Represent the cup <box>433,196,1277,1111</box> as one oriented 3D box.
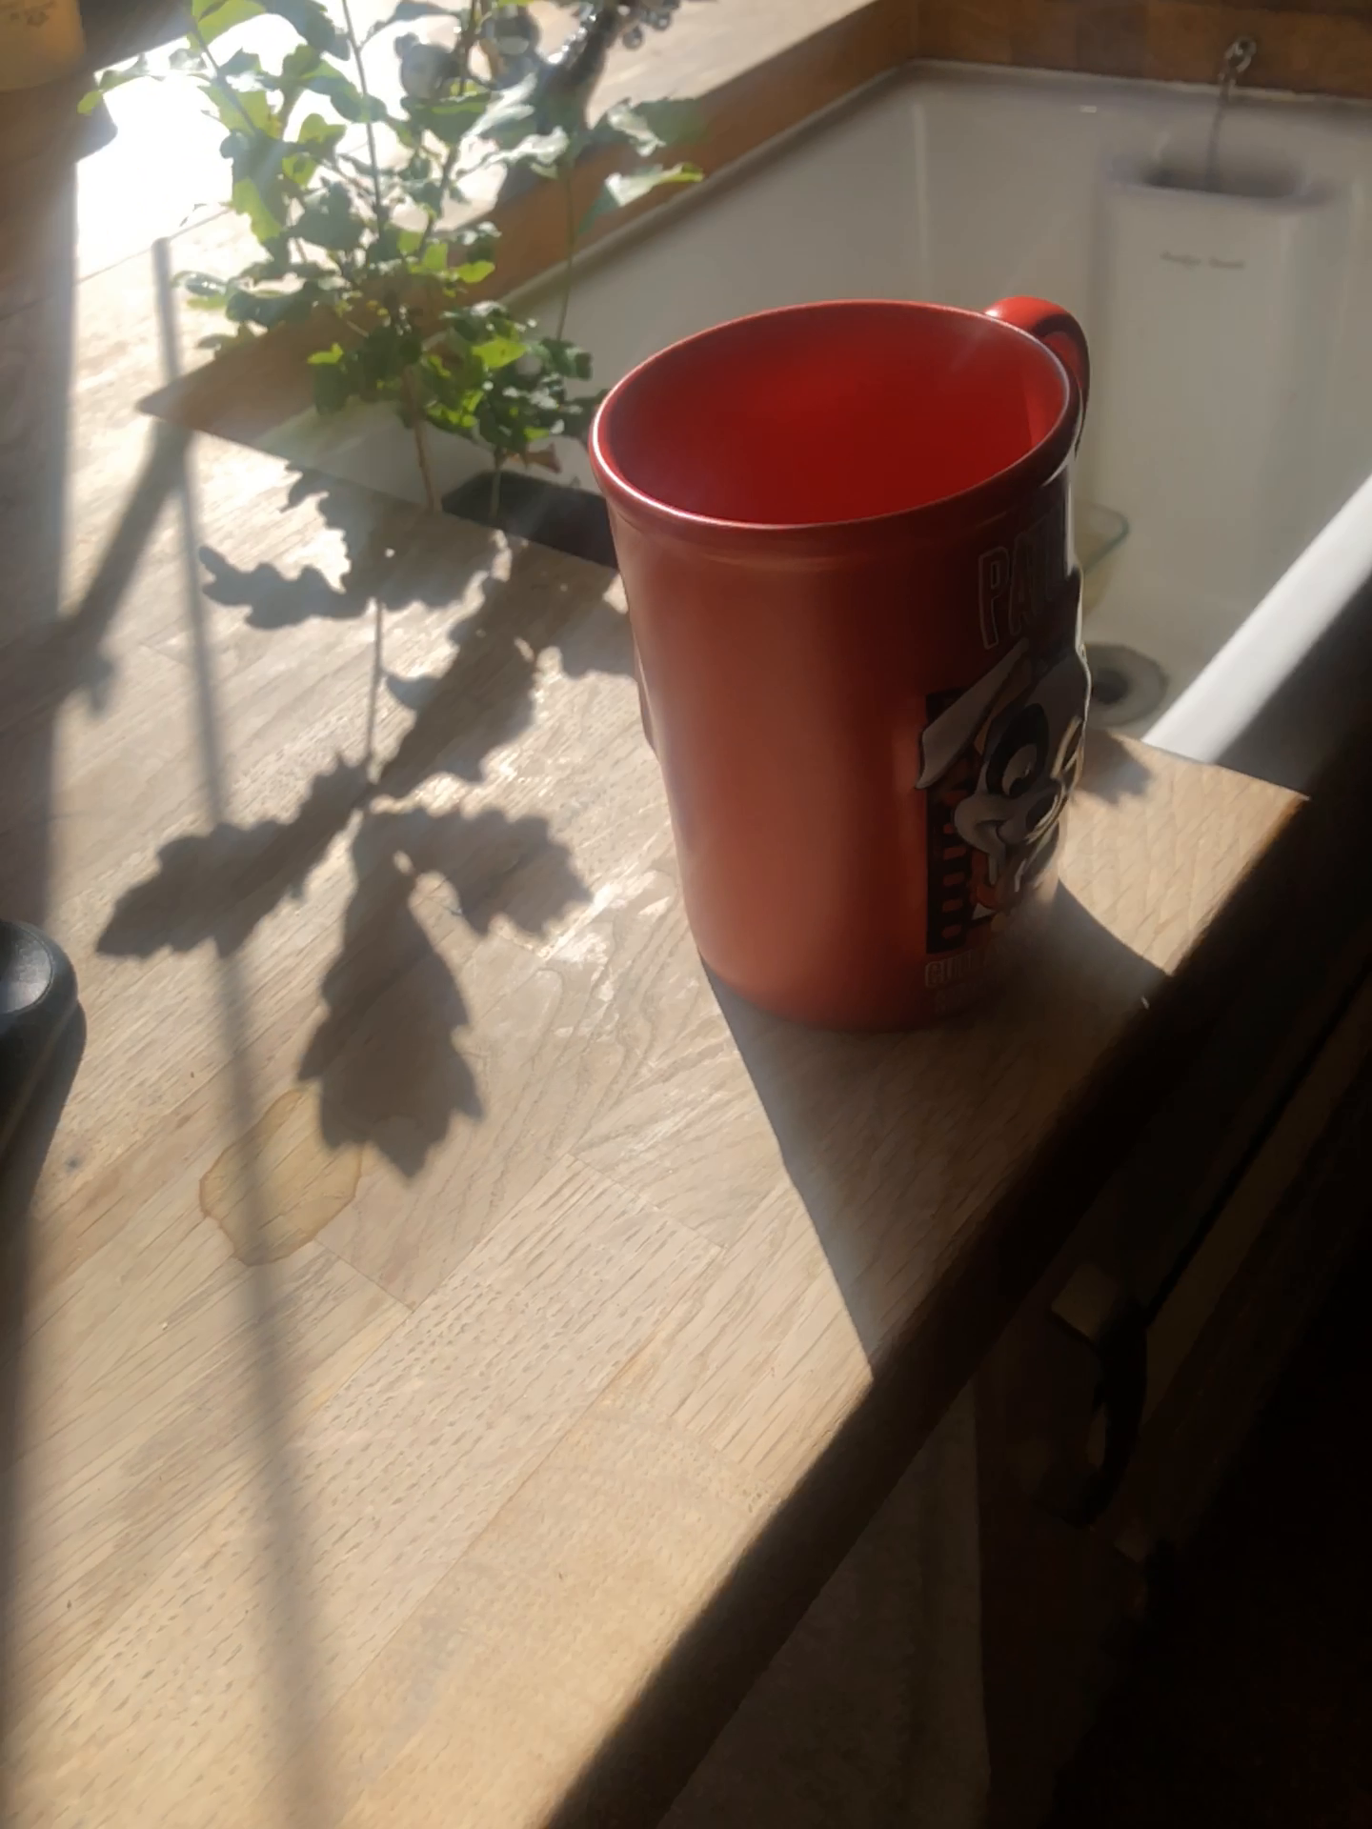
[{"bbox_3d":[0.041,-0.060,0.317,0.095,0.119,0.132,25,53,34],"label":"cup"}]
